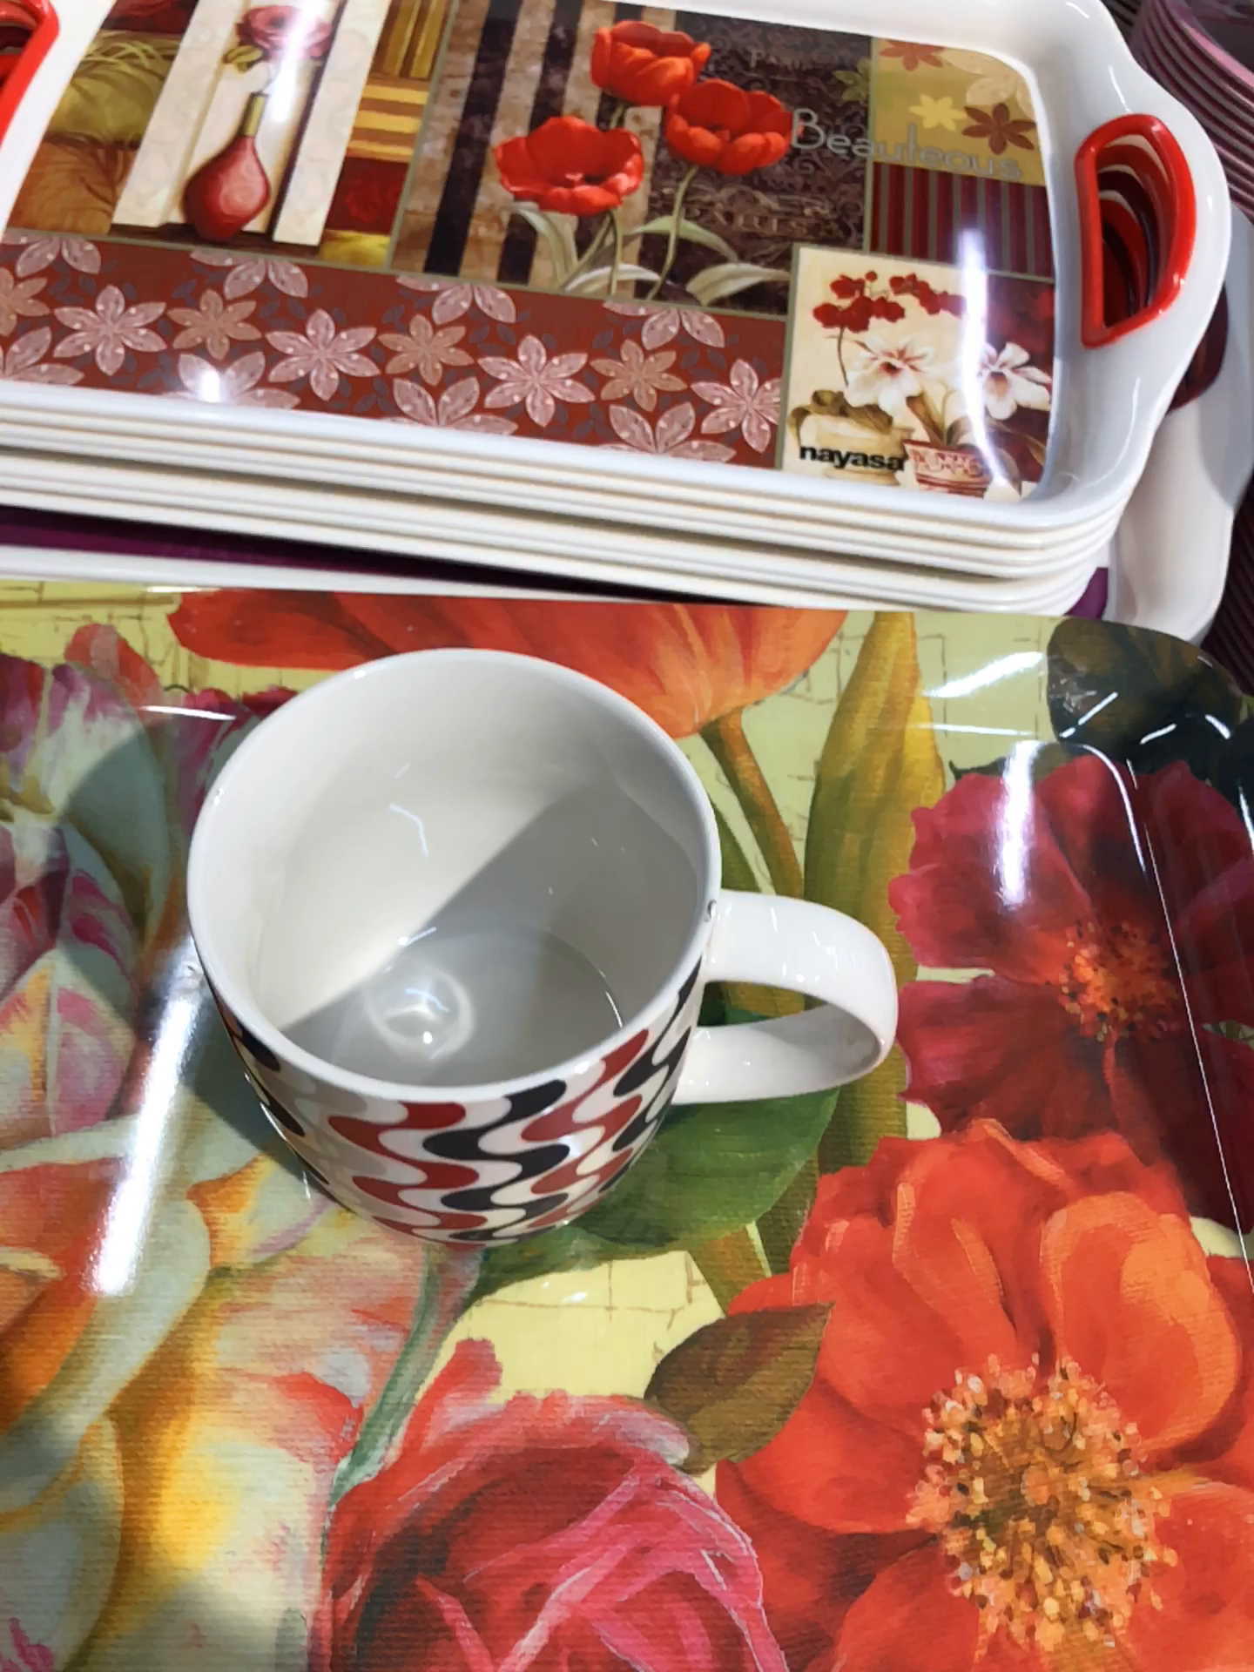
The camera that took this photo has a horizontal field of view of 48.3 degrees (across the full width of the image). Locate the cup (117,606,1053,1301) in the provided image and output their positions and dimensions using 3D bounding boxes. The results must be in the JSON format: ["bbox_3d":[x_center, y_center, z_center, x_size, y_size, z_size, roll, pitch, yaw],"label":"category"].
[{"bbox_3d":[-0.007,0.023,0.253,0.130,0.080,0.090,3,53,-3],"label":"cup"}]
